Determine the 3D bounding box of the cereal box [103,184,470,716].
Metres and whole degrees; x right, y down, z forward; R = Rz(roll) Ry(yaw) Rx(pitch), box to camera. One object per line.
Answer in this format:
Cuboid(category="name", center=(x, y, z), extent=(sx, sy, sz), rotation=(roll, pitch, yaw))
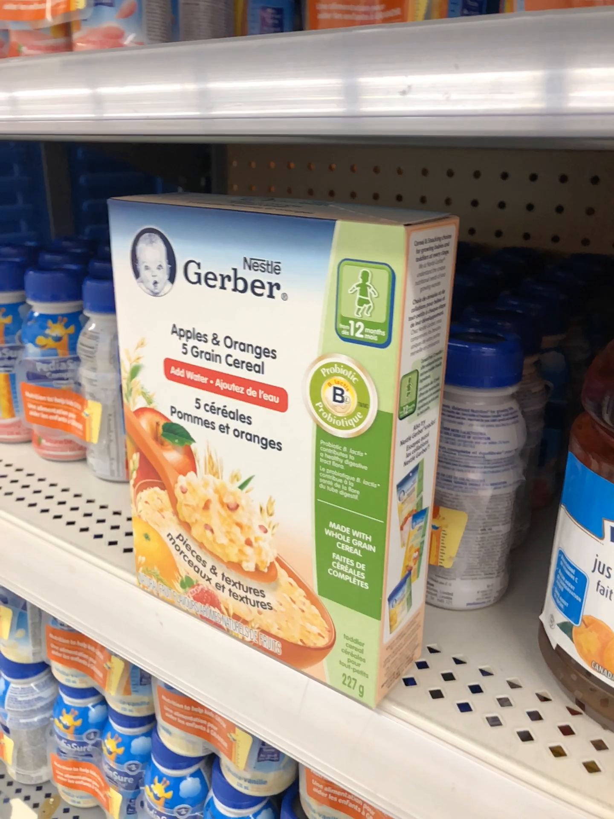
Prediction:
Cuboid(category="cereal box", center=(-0.015, 0.010, 0.302), extent=(0.140, 0.199, 0.050), rotation=(15, 25, 31))
